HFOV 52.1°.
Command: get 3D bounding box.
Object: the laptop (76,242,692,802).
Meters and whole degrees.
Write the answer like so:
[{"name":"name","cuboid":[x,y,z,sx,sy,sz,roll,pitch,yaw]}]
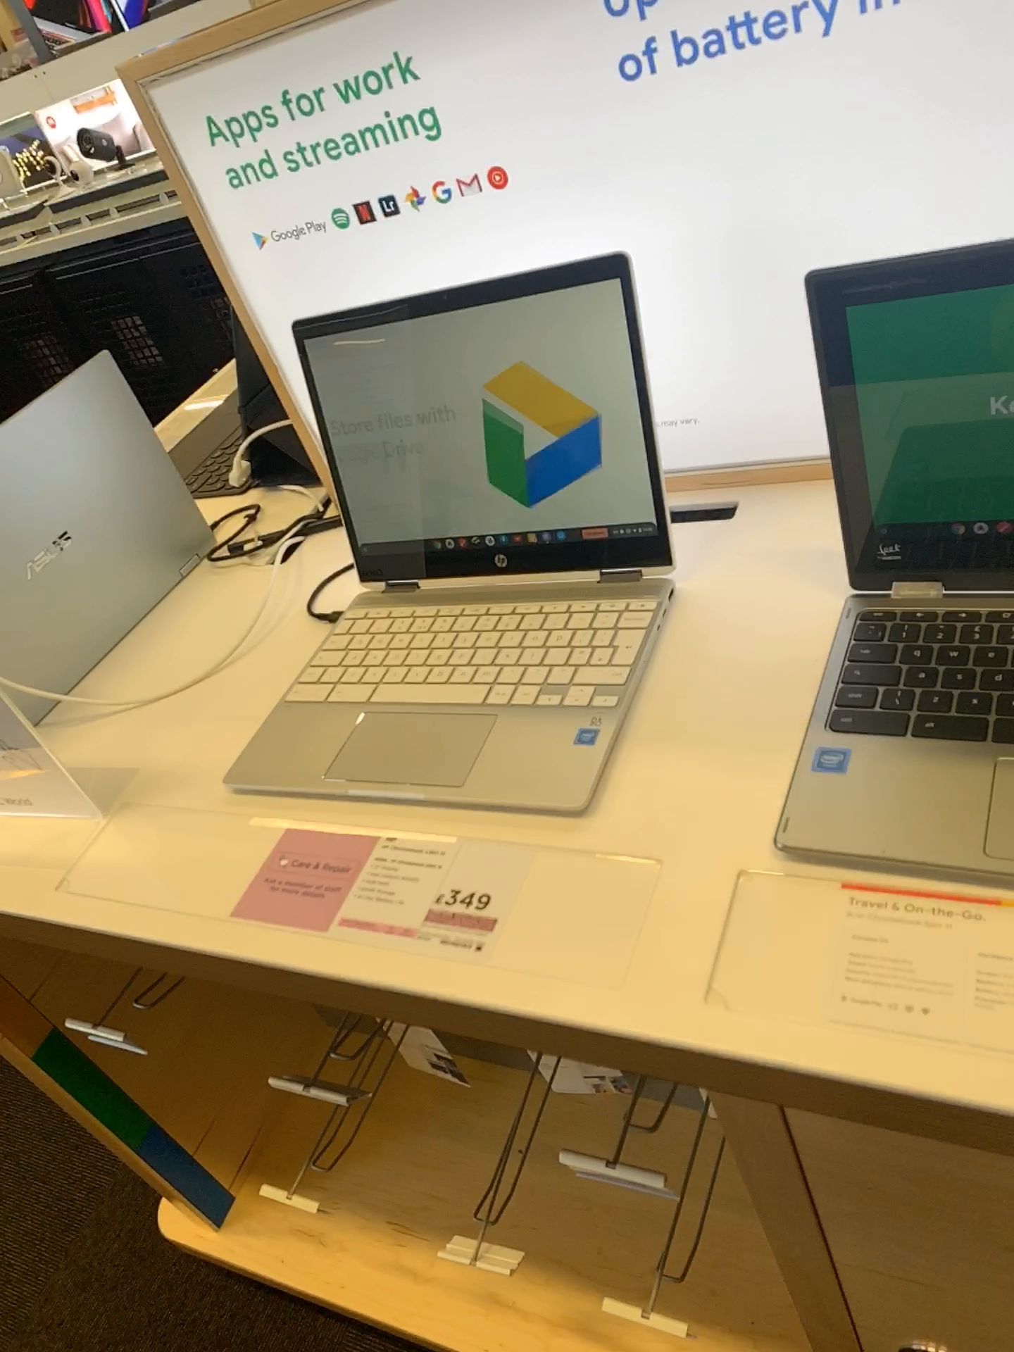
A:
[{"name":"laptop","cuboid":[-0.056,-0.097,0.664,0.258,0.190,0.271,0,44,29]}]
